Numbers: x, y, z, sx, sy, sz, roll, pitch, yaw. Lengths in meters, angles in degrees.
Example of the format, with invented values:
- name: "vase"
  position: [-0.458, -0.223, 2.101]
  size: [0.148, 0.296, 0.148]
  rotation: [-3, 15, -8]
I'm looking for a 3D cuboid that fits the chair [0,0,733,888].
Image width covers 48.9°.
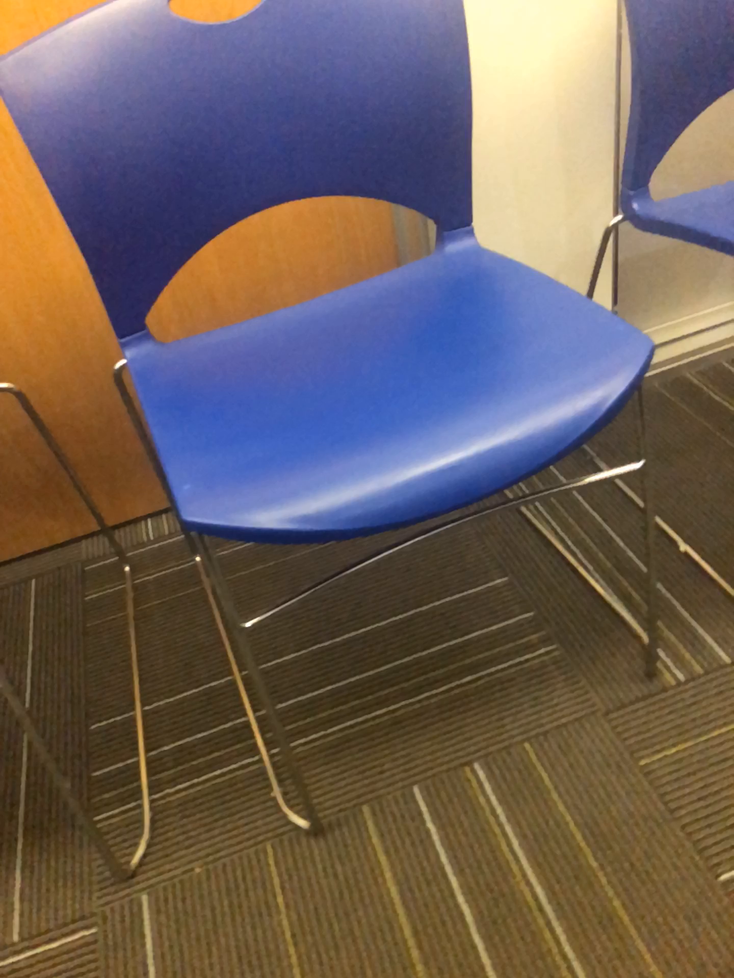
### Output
- name: "chair"
  position: [-0.014, -0.134, 0.965]
  size: [0.521, 0.853, 0.634]
  rotation: [-19, 37, -10]

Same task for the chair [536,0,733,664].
- name: "chair"
  position: [0.609, -0.343, 0.996]
  size: [0.541, 0.774, 0.594]
  rotation: [-18, 36, -9]
